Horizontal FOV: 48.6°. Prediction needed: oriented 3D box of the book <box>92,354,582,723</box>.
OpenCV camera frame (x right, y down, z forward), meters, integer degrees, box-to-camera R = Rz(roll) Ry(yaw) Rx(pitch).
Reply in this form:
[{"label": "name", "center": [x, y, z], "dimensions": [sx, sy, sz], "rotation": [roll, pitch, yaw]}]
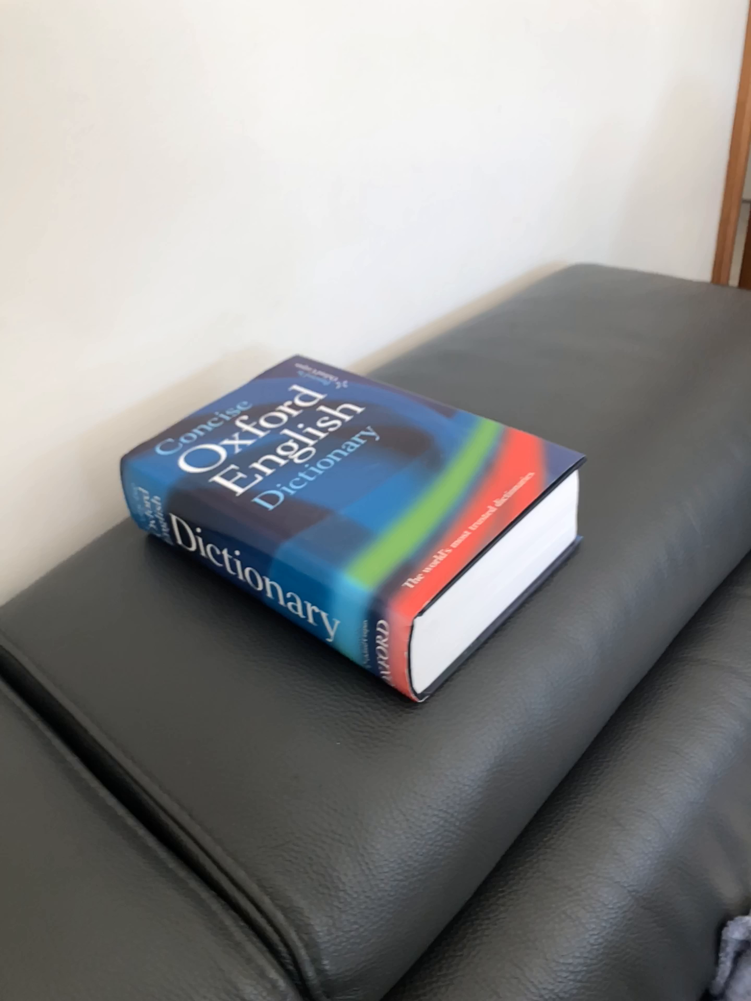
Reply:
[{"label": "book", "center": [-0.026, 0.002, 0.524], "dimensions": [0.250, 0.070, 0.171], "rotation": [23, 46, 35]}]
